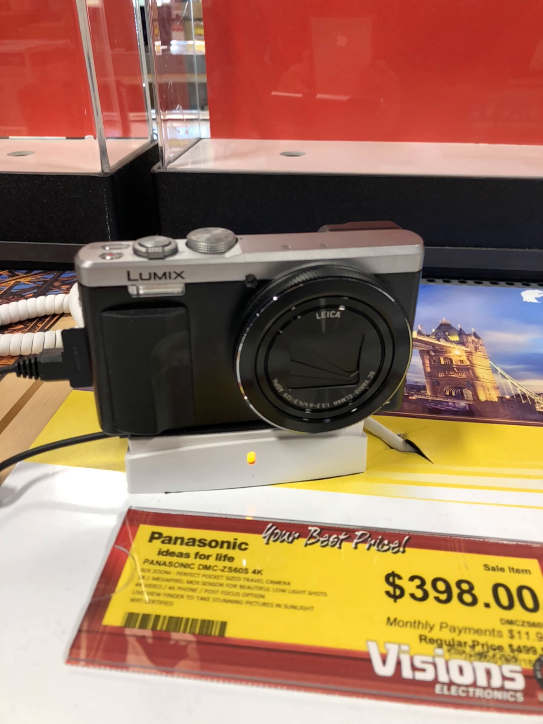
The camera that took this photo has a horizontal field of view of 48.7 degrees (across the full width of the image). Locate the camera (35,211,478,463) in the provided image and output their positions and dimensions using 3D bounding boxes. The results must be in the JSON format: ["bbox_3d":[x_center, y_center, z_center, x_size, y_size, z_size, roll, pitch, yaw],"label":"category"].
[{"bbox_3d":[-0.004,-0.010,0.193,0.120,0.060,0.040,-5,30,-7],"label":"camera"}]
